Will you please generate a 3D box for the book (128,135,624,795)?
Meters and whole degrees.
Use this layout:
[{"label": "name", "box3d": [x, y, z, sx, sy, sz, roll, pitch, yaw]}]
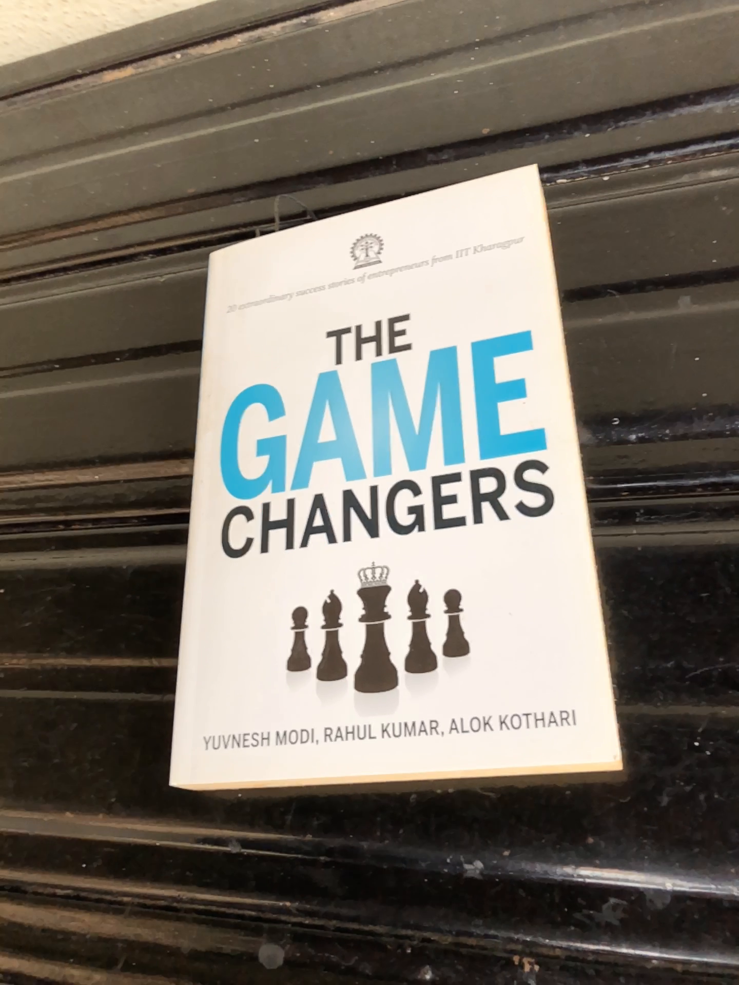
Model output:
[{"label": "book", "box3d": [-0.002, -0.013, 0.280, 0.140, 0.030, 0.210, -9, 64, 18]}]
